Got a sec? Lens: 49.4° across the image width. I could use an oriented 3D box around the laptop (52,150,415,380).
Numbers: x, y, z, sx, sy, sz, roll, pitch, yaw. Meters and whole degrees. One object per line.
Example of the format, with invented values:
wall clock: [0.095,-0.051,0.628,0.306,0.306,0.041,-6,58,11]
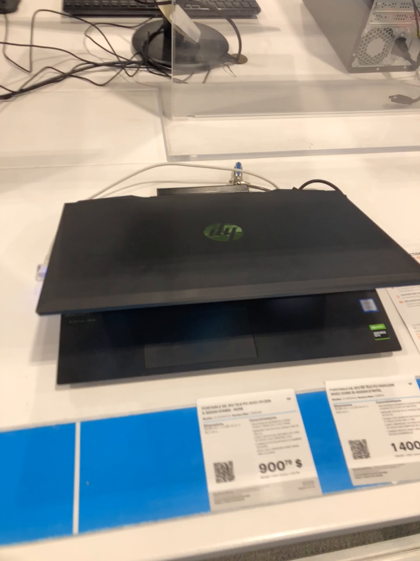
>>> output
laptop: [0.015,-0.032,0.499,0.339,0.064,0.222,-5,58,-9]
